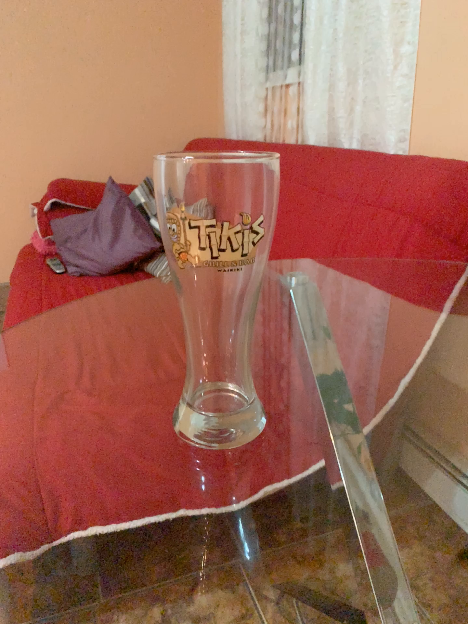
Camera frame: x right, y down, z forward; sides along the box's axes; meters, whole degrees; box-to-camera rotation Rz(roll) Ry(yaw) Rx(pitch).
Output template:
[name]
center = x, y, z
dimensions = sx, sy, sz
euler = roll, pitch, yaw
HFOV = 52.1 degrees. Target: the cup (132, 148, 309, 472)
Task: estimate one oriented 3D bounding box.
[cup]
center = -0.017, -0.008, 0.358
dimensions = 0.093, 0.211, 0.100
euler = 1, 20, -1
